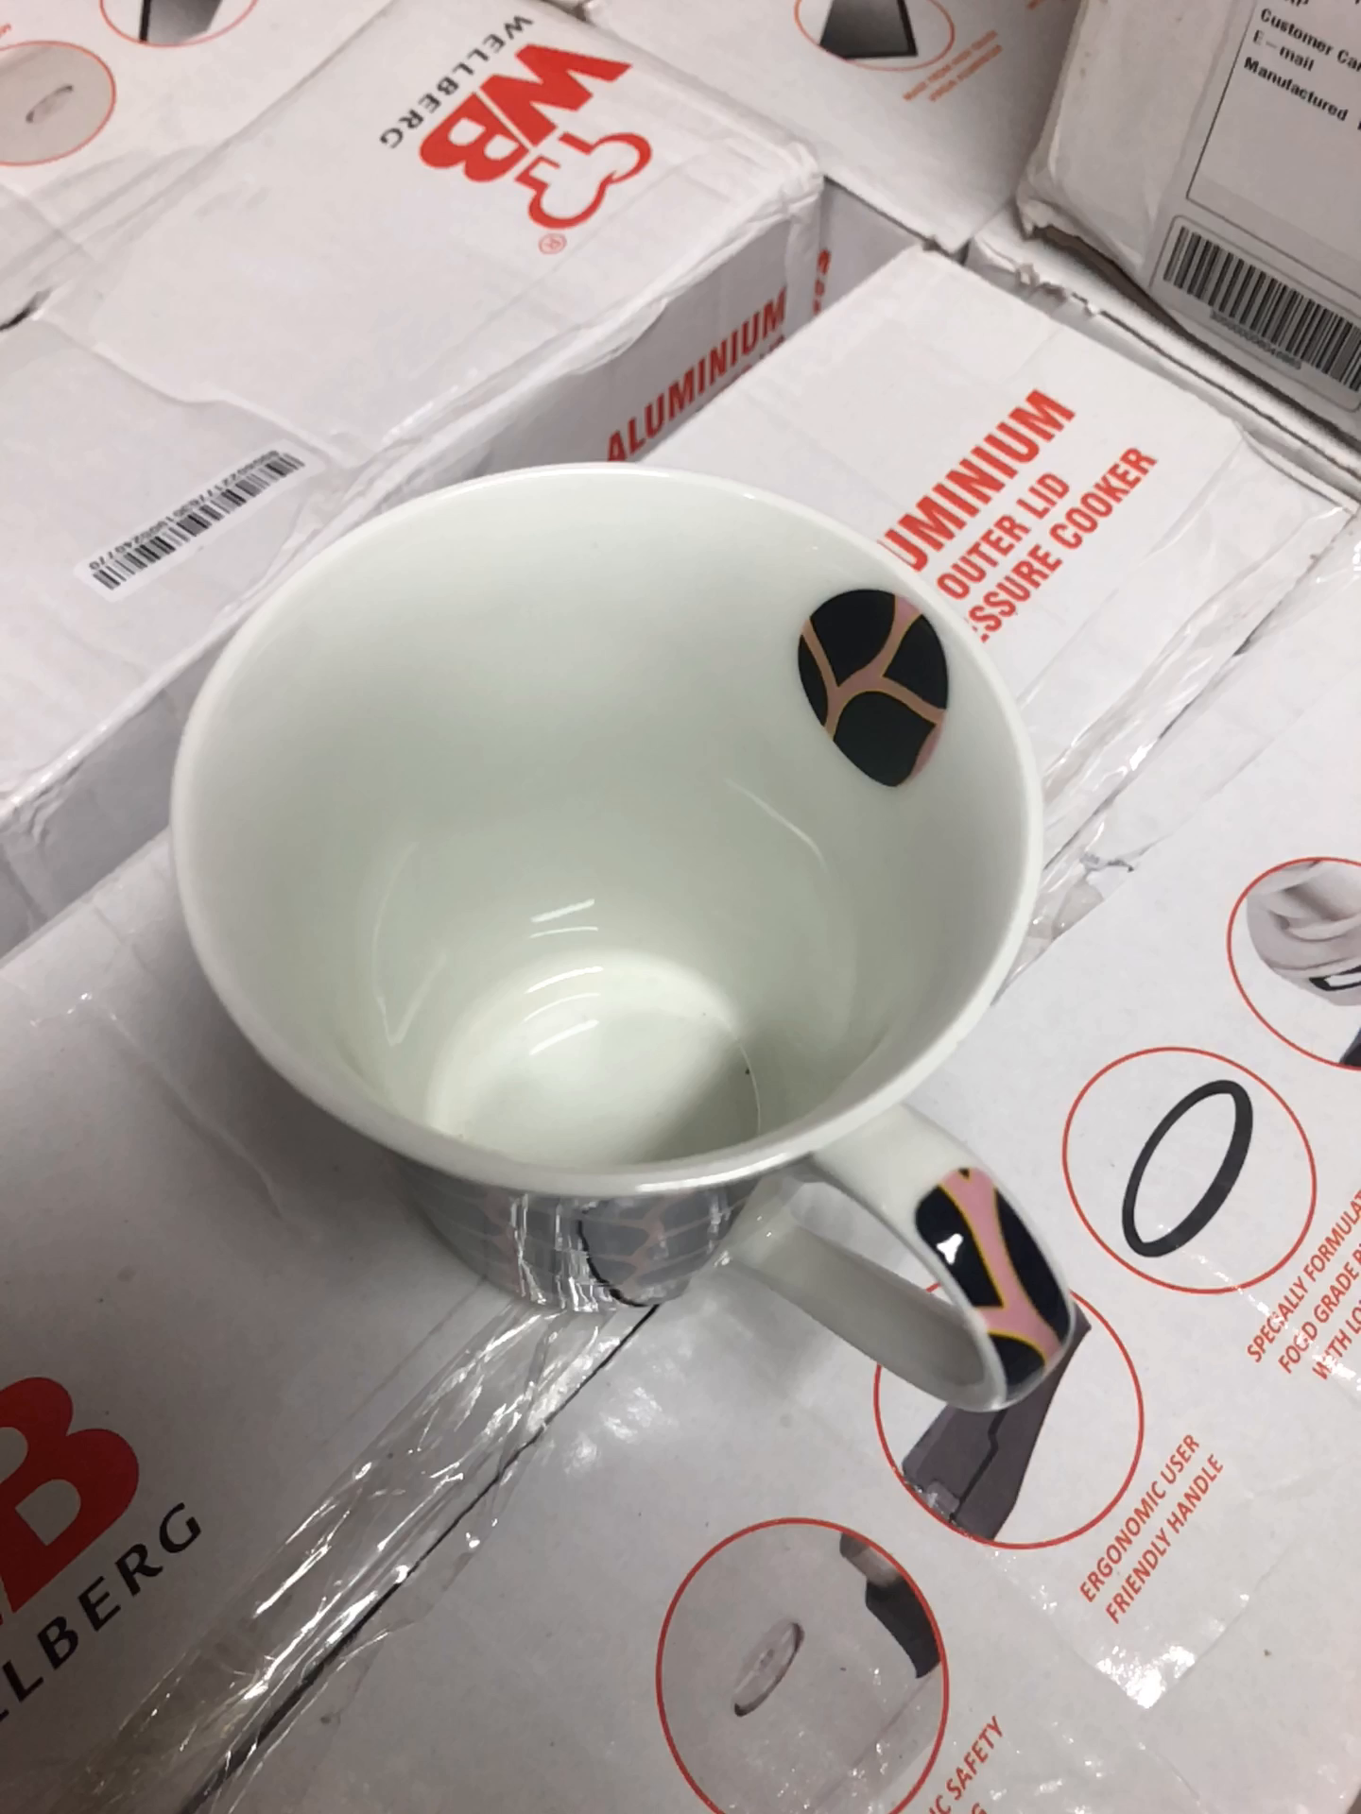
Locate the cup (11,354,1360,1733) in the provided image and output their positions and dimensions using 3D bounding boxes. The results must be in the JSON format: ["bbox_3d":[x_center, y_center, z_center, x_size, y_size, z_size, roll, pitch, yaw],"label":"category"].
[{"bbox_3d":[0.003,0.019,0.178,0.110,0.090,0.080,41,66,14],"label":"cup"}]
